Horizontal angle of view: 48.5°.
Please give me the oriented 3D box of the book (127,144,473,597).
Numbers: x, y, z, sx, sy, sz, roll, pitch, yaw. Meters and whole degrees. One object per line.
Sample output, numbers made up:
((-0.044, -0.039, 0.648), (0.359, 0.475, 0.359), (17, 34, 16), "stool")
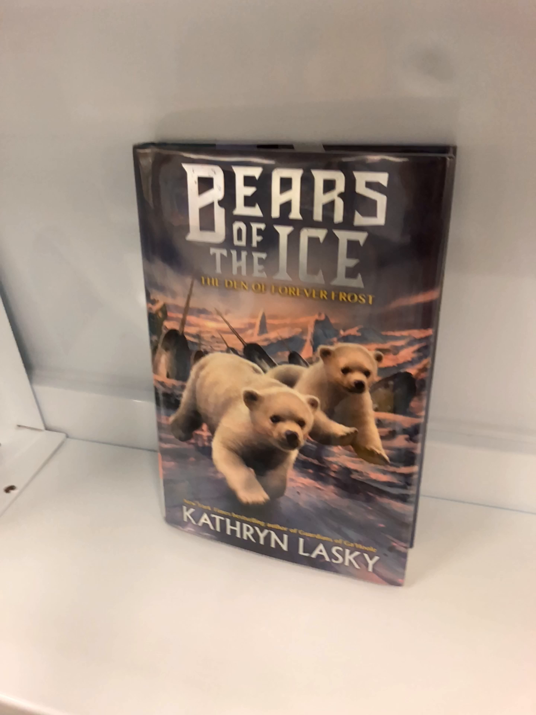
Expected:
((0.013, 0.006, 0.310), (0.150, 0.216, 0.043), (9, 24, 21), "book")
